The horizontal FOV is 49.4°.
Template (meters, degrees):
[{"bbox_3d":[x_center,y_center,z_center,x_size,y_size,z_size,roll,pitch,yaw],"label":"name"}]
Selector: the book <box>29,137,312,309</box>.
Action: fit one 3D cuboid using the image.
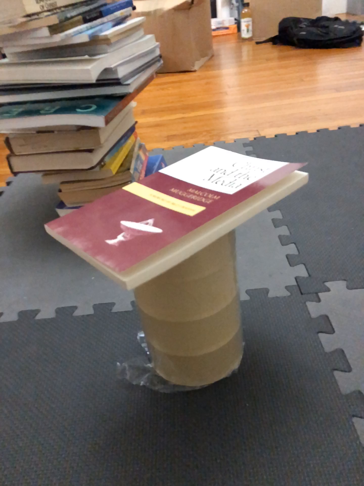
[{"bbox_3d":[-0.007,-0.038,0.352,0.211,0.020,0.141,-33,40,-30],"label":"book"}]
